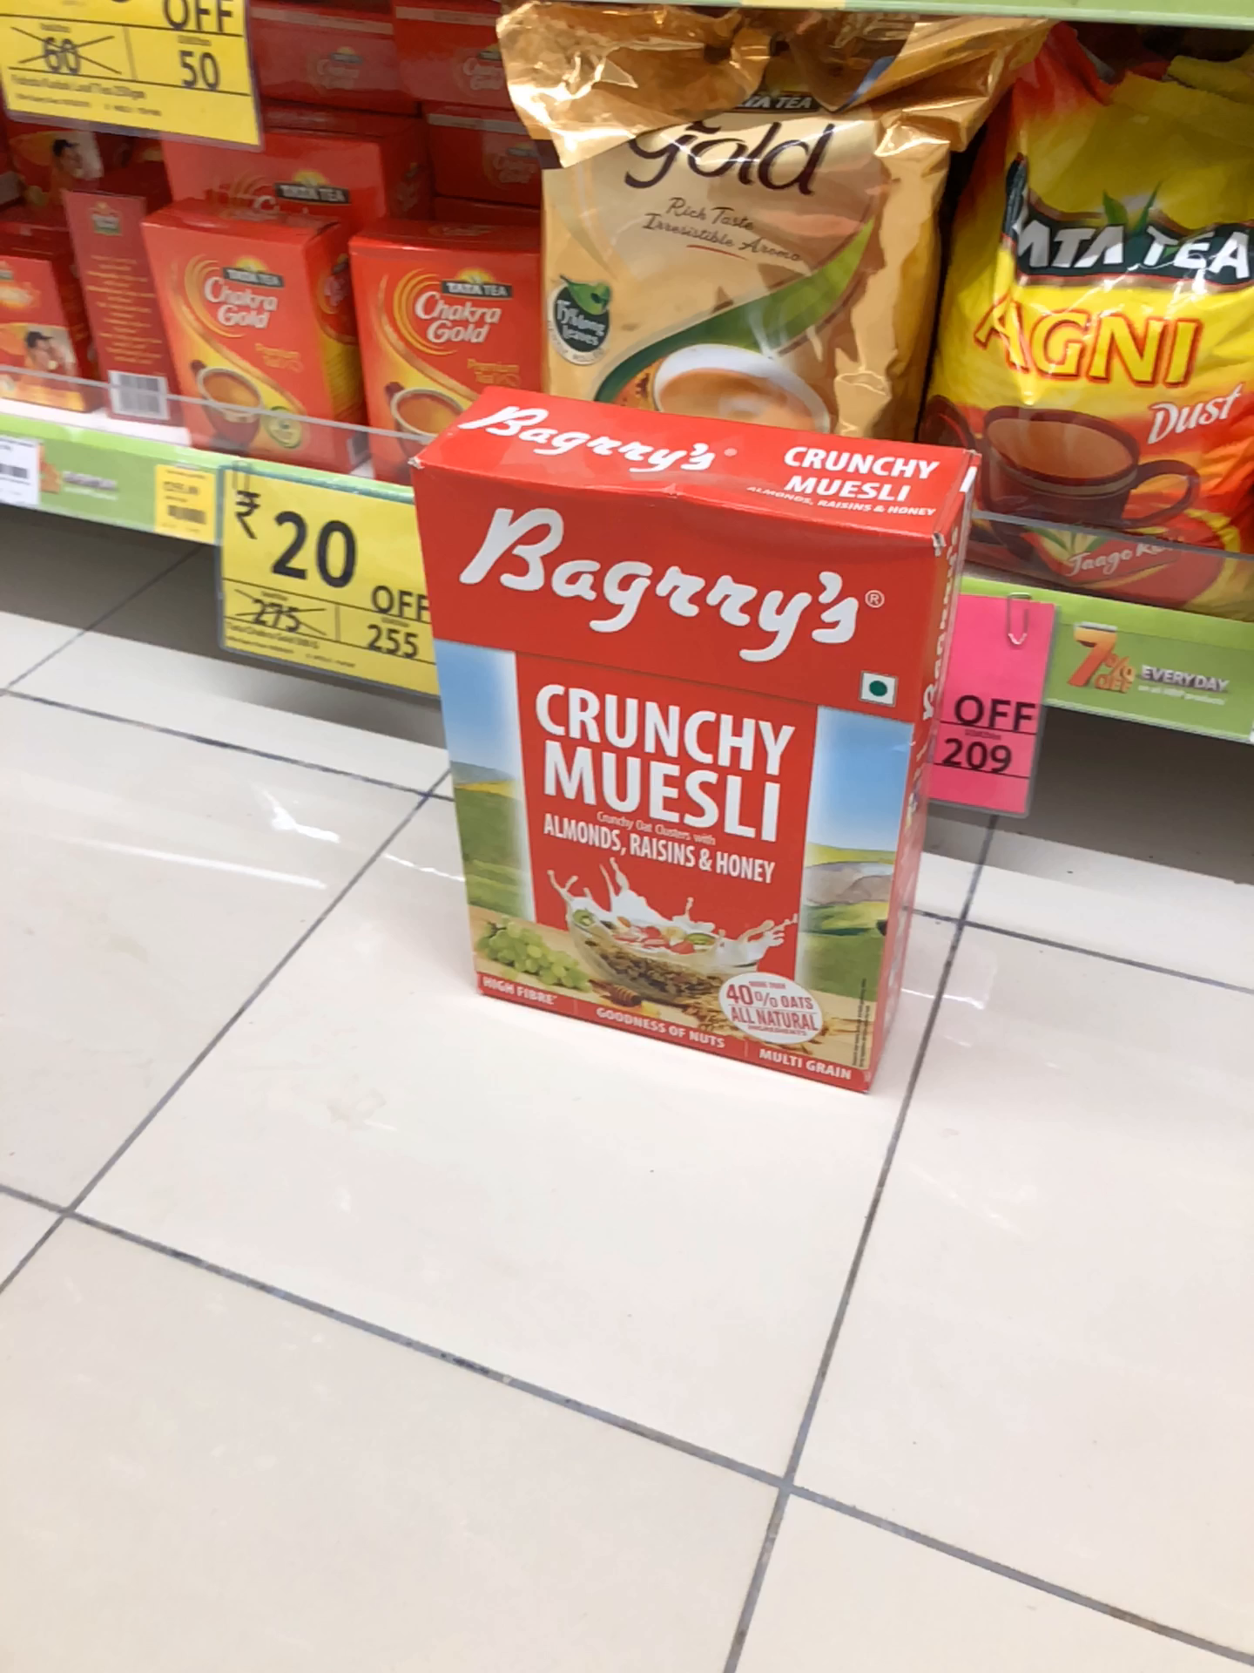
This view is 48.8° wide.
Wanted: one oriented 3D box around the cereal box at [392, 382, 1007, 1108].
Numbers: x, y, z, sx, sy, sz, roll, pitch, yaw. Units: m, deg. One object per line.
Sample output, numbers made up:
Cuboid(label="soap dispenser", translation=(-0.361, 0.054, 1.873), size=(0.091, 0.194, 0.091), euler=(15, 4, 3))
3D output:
Cuboid(label="cereal box", translation=(0.028, -0.029, 0.561), size=(0.200, 0.268, 0.071), euler=(12, 41, 17))
